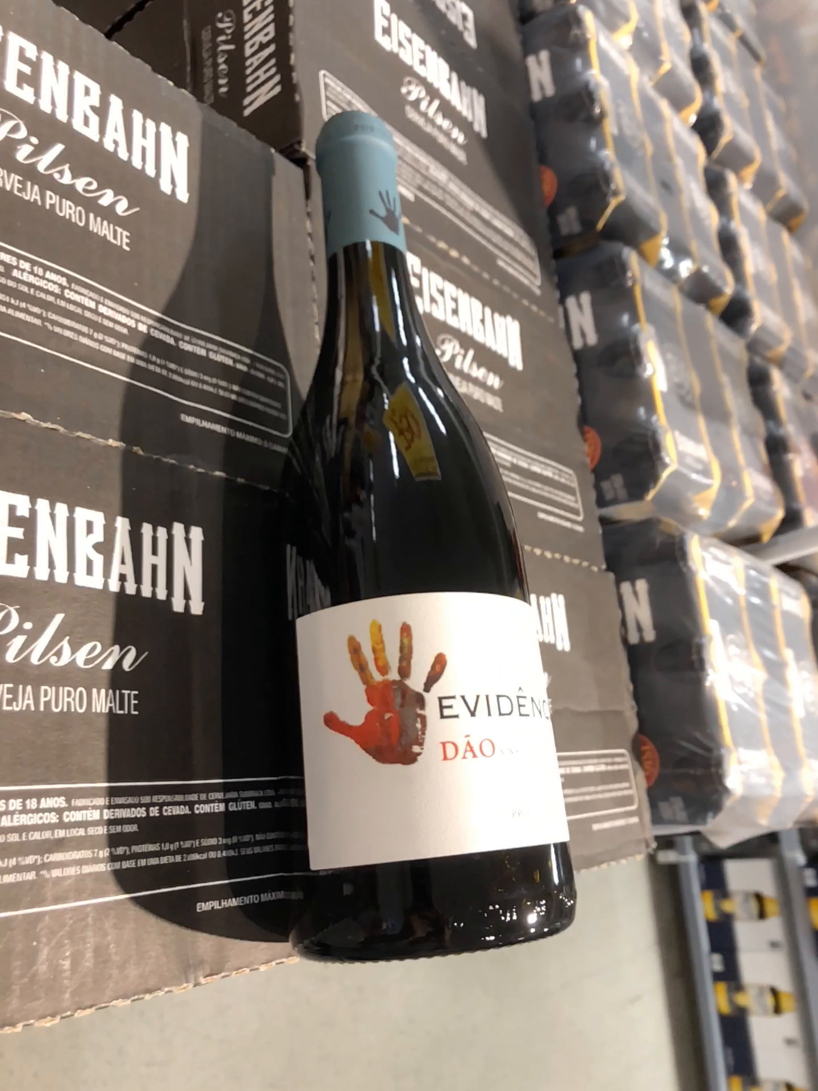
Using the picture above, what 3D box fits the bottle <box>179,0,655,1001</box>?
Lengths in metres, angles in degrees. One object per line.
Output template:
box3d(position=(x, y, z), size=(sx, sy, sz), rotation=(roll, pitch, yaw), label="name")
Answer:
box3d(position=(-0.005, -0.046, 0.299), size=(0.101, 0.089, 0.330), rotation=(15, 66, -49), label="bottle")
